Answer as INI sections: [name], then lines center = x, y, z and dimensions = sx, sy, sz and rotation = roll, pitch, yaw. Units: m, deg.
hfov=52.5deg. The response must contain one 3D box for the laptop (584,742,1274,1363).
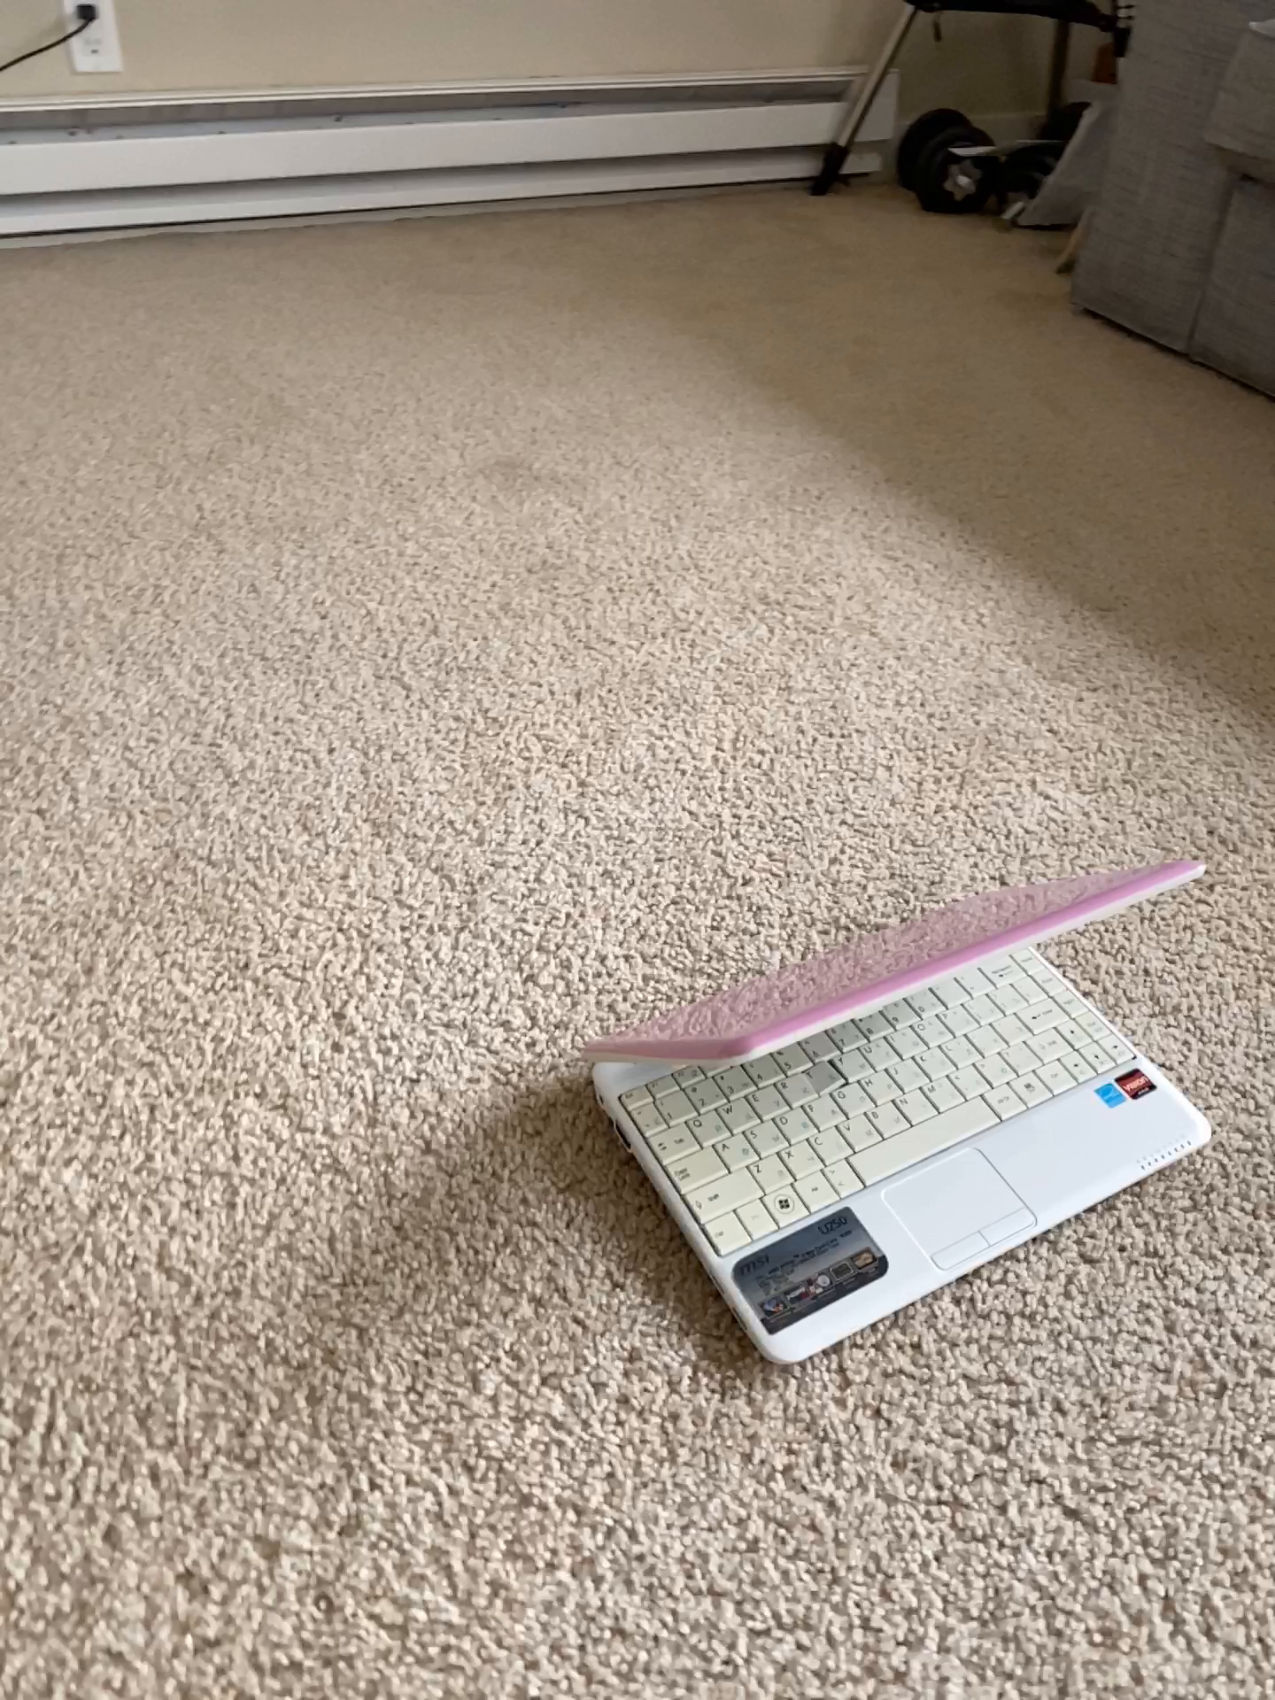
[laptop]
center = 0.146, 0.086, 0.674
dimensions = 0.290, 0.125, 0.194
rotation = -18, 46, -24
